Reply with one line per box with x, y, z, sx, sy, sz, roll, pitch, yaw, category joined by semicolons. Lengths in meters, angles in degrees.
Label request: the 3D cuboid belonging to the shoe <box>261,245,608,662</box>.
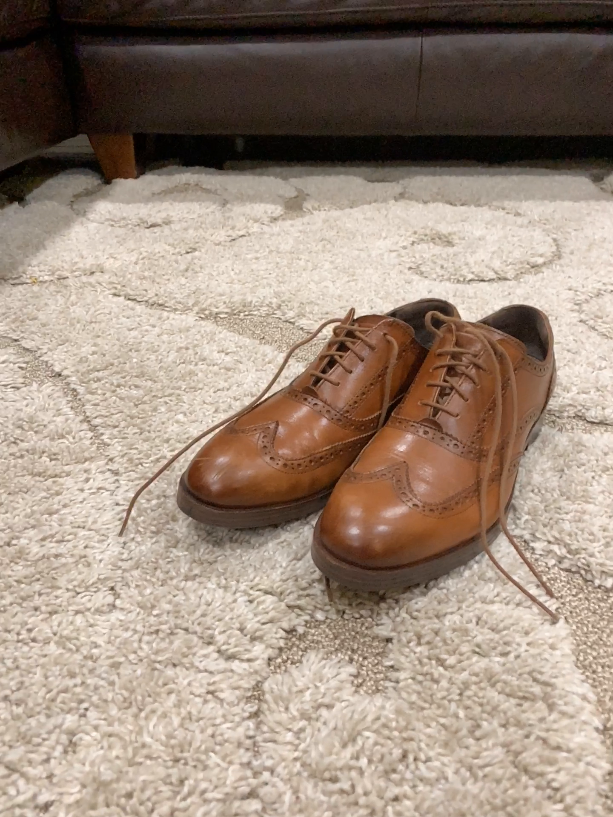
0.101;0.002;0.430;0.105;0.131;0.282;20;39;29;shoe

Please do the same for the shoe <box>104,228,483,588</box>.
0.011;-0.024;0.471;0.105;0.131;0.284;23;41;33;shoe
